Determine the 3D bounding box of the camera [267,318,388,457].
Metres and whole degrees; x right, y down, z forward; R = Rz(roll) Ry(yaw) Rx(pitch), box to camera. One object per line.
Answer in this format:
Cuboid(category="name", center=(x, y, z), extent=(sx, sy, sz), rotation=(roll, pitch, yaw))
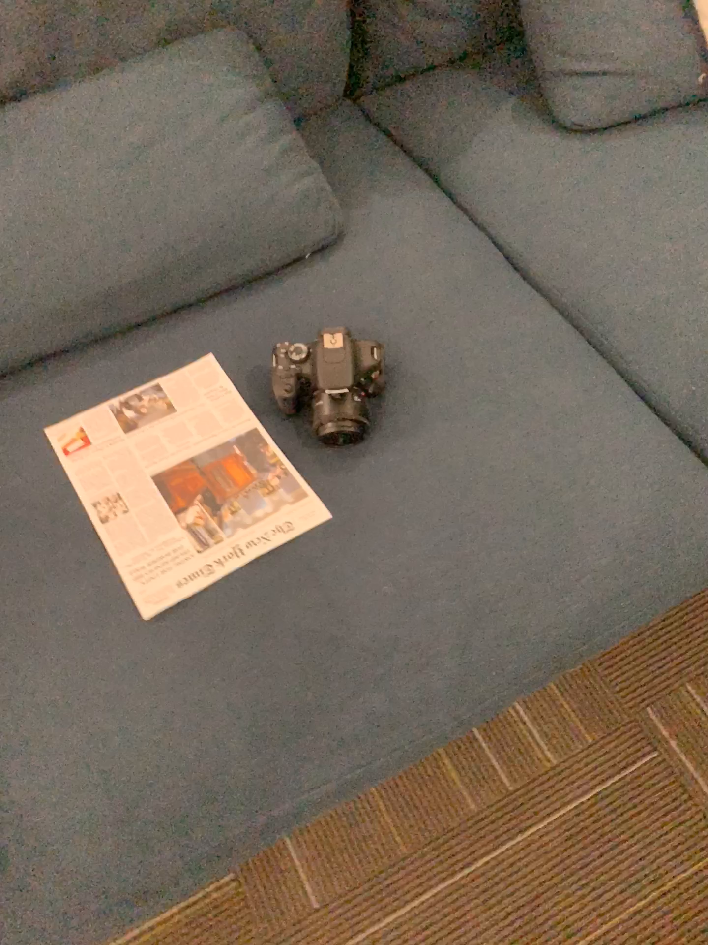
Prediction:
Cuboid(category="camera", center=(-0.030, -0.099, 0.851), extent=(0.127, 0.090, 0.122), rotation=(-5, 58, 2))
